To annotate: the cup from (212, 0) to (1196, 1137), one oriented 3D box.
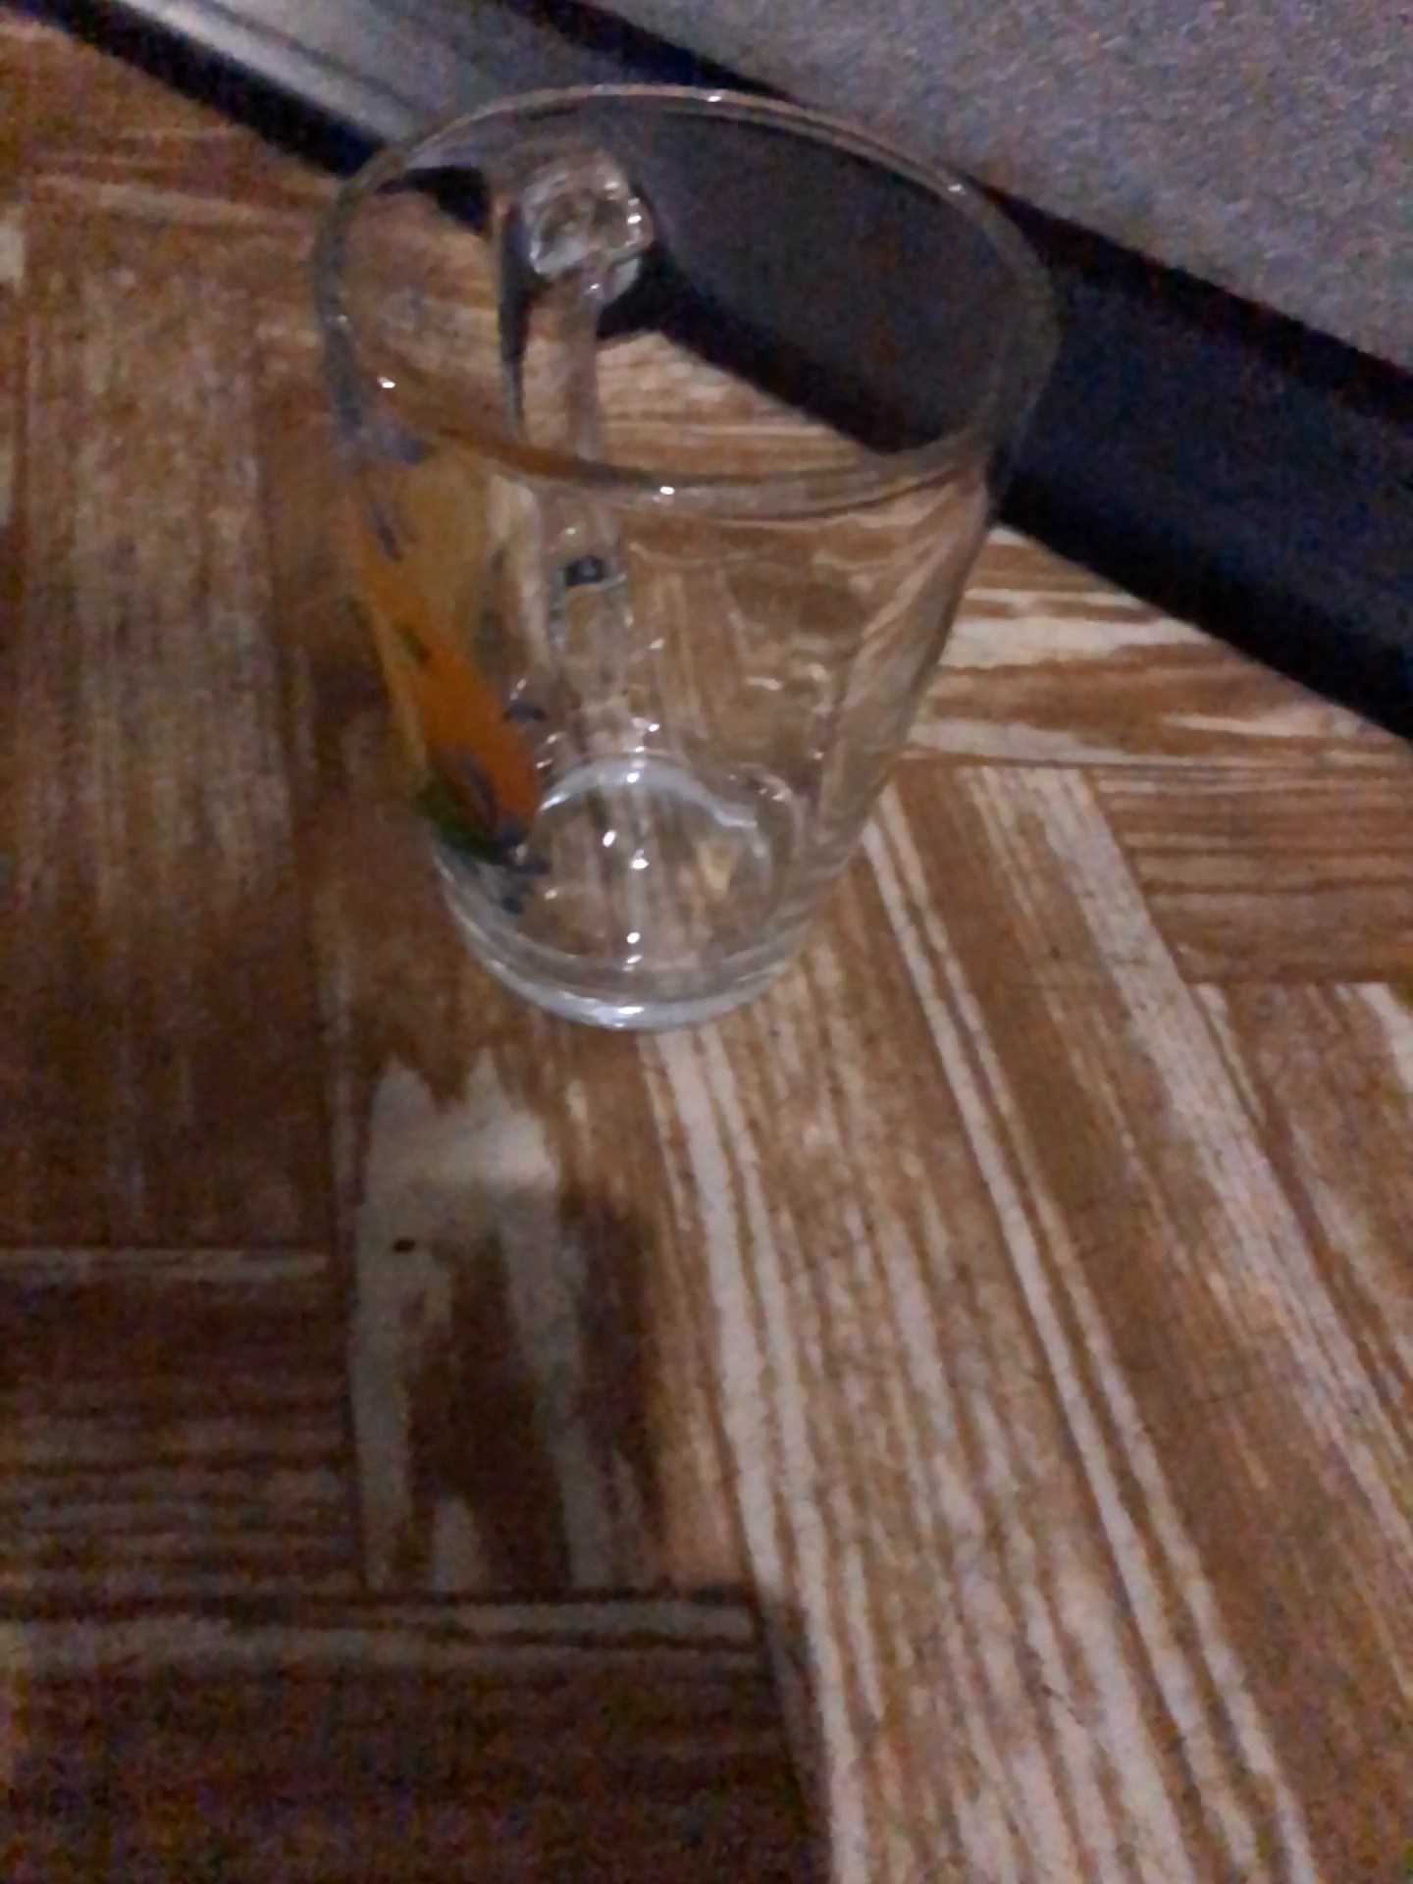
[{"bbox_3d":[-0.011,-0.056,0.222,0.085,0.098,0.117,-11,55,-14],"label":"cup"}]
